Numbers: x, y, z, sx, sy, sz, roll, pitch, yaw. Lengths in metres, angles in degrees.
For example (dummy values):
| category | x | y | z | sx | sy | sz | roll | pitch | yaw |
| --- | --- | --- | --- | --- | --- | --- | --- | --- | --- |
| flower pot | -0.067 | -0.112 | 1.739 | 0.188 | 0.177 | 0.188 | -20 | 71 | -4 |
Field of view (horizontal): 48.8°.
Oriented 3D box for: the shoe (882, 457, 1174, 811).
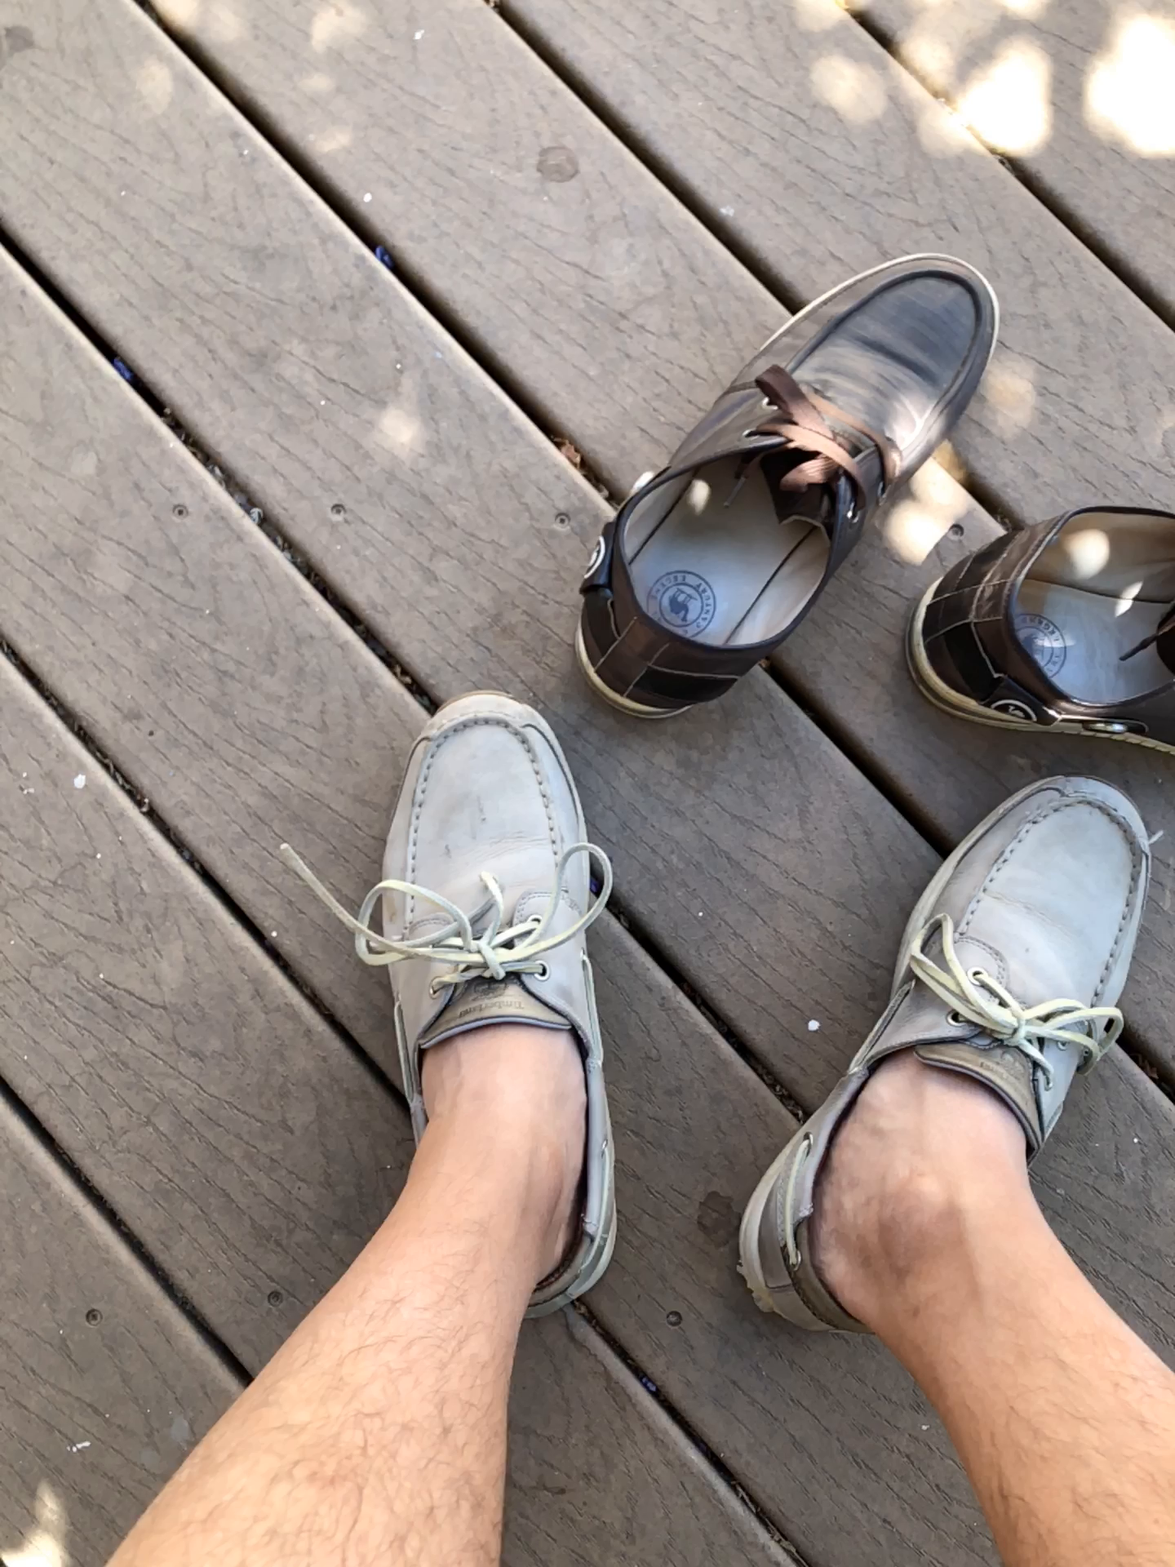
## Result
| category | x | y | z | sx | sy | sz | roll | pitch | yaw |
| --- | --- | --- | --- | --- | --- | --- | --- | --- | --- |
| shoe | 0.305 | -0.063 | 0.603 | 0.303 | 0.111 | 0.110 | 6 | 84 | 1 |

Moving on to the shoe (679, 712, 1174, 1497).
| category | x | y | z | sx | sy | sz | roll | pitch | yaw |
| --- | --- | --- | --- | --- | --- | --- | --- | --- | --- |
| shoe | 0.170 | 0.133 | 0.589 | 0.110 | 0.111 | 0.303 | 31 | 85 | 4 |

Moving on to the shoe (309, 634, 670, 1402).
| category | x | y | z | sx | sy | sz | roll | pitch | yaw |
| --- | --- | --- | --- | --- | --- | --- | --- | --- | --- |
| shoe | -0.042 | 0.099 | 0.596 | 0.110 | 0.111 | 0.303 | -8 | 83 | 0 |

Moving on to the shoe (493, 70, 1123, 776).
| category | x | y | z | sx | sy | sz | roll | pitch | yaw |
| --- | --- | --- | --- | --- | --- | --- | --- | --- | --- |
| shoe | 0.099 | -0.162 | 0.618 | 0.110 | 0.111 | 0.303 | 39 | 85 | 5 |
